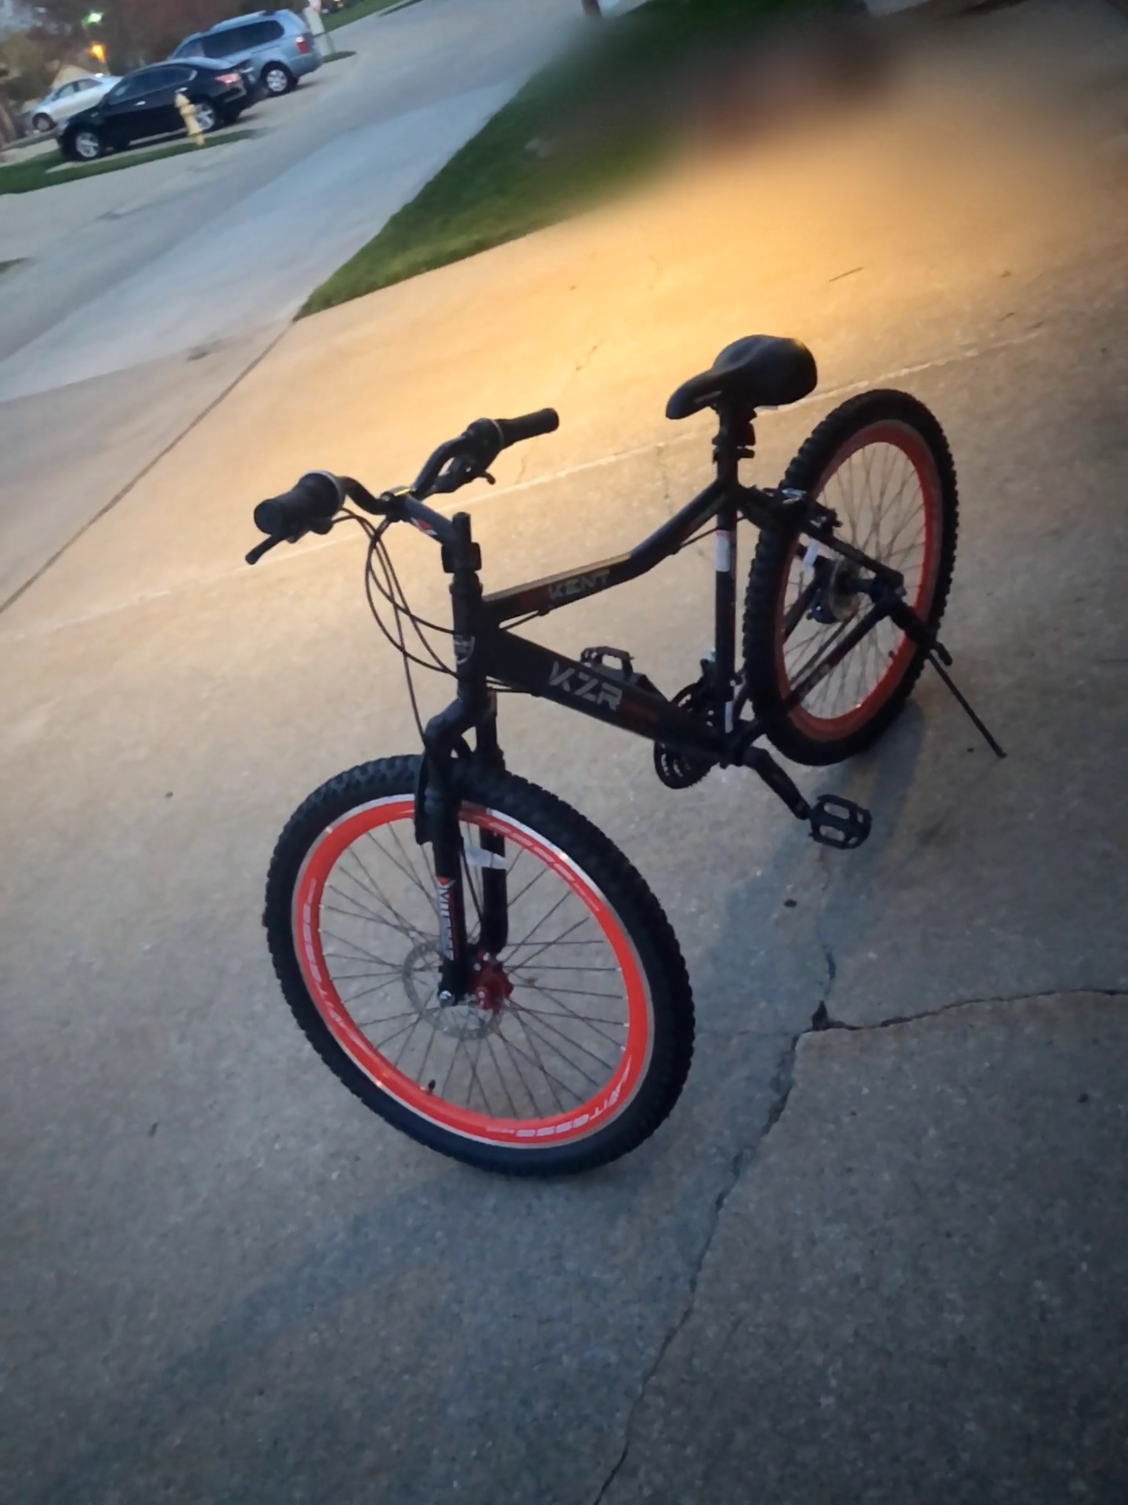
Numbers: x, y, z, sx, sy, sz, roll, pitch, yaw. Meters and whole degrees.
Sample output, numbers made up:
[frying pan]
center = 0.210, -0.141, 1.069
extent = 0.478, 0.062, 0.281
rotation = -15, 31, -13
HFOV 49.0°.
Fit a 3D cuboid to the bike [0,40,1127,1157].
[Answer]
[bike]
center = 0.102, -0.256, 1.917
extent = 1.424, 1.031, 0.601
rotation = -35, 34, -22
